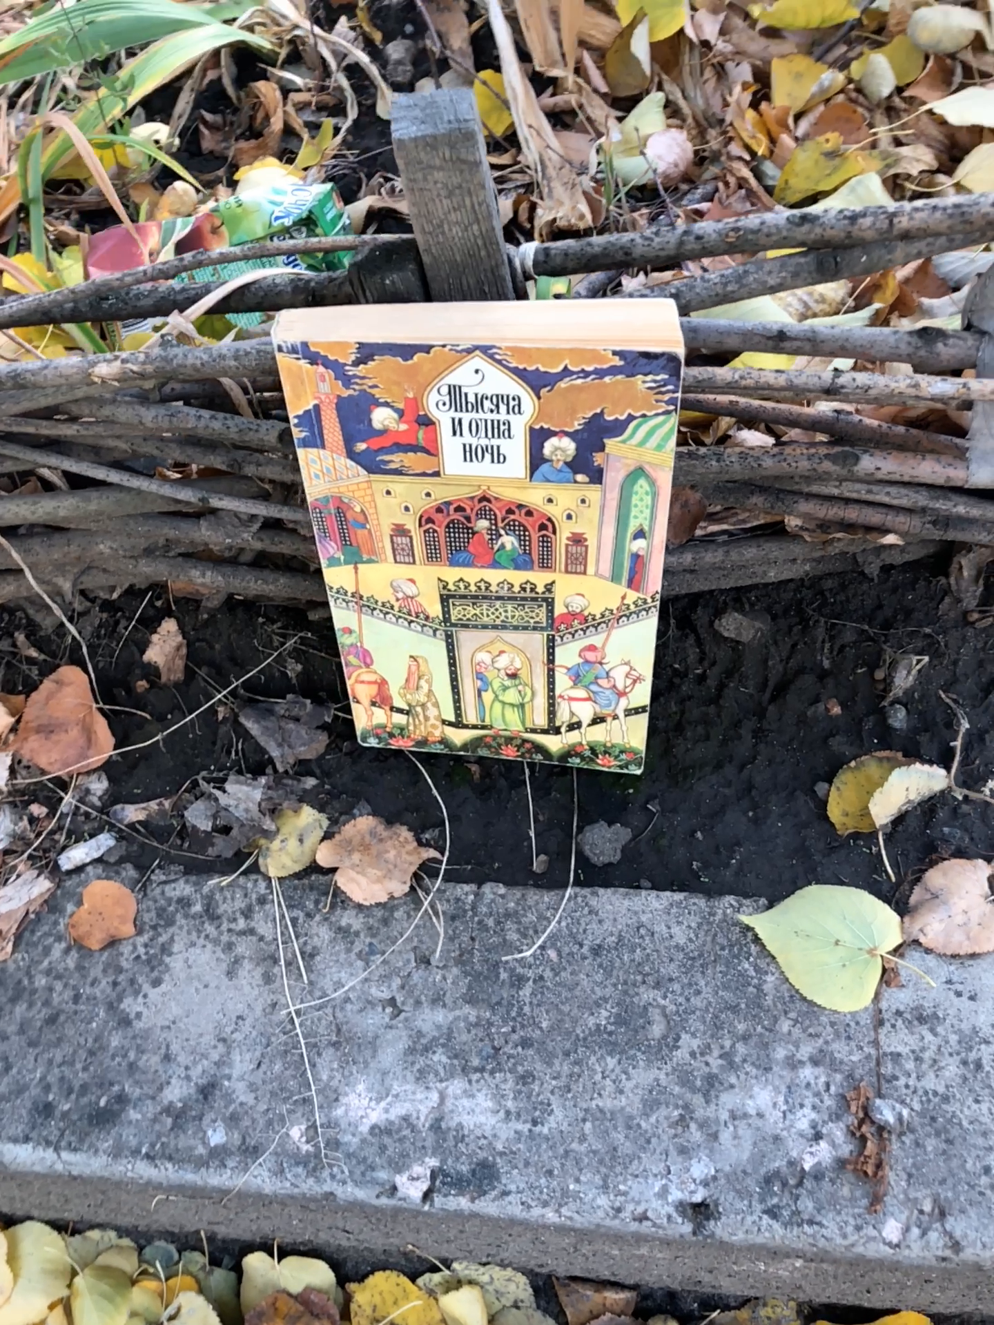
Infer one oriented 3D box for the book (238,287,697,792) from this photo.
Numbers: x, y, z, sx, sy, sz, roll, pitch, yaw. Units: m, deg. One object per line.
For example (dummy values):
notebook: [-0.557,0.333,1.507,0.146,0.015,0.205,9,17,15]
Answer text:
book: [-0.001,-0.031,0.364,0.122,0.182,0.029,5,47,12]
